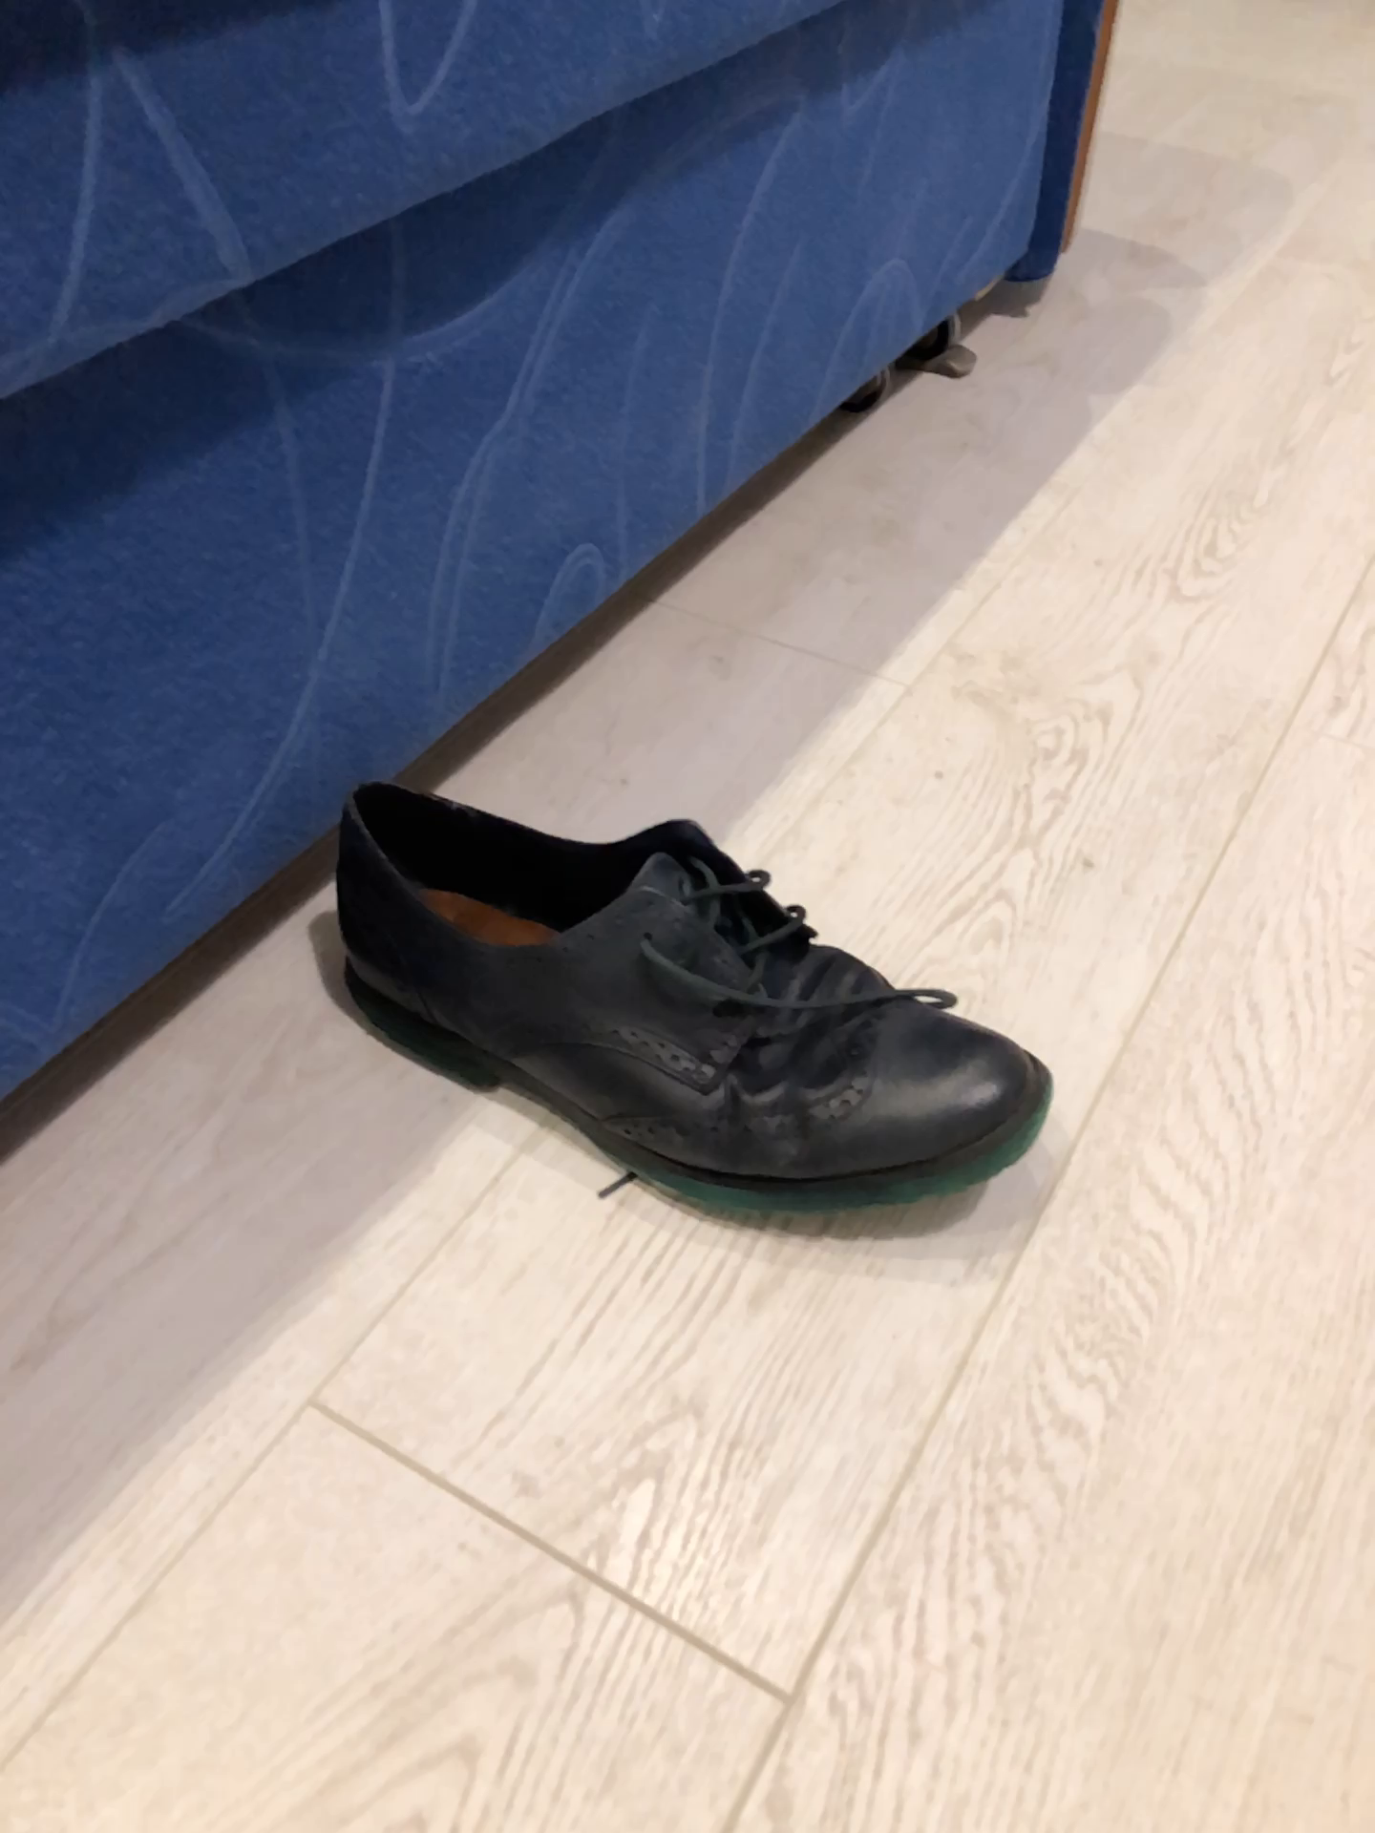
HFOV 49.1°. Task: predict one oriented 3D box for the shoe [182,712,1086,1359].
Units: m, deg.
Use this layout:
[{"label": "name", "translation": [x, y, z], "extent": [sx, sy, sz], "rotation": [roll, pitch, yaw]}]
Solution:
[{"label": "shoe", "translation": [-0.018, 0.029, 0.474], "extent": [0.250, 0.089, 0.096], "rotation": [18, 46, 17]}]
